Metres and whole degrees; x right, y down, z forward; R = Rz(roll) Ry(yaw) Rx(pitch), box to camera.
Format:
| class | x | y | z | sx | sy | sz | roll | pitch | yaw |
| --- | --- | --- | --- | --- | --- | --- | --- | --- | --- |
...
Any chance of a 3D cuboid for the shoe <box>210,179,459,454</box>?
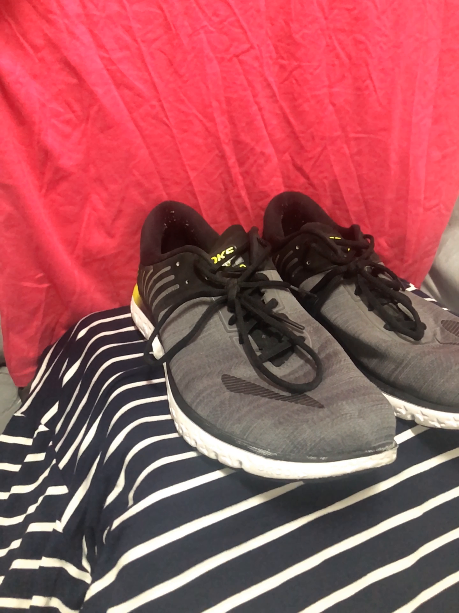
| class | x | y | z | sx | sy | sz | roll | pitch | yaw |
| --- | --- | --- | --- | --- | --- | --- | --- | --- | --- |
| shoe | 0.094 | -0.024 | 0.381 | 0.104 | 0.079 | 0.282 | -12 | 29 | -25 |

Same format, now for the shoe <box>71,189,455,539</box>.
| class | x | y | z | sx | sy | sz | roll | pitch | yaw |
| --- | --- | --- | --- | --- | --- | --- | --- | --- | --- |
| shoe | -0.014 | -0.004 | 0.337 | 0.103 | 0.079 | 0.292 | -13 | 29 | -26 |
